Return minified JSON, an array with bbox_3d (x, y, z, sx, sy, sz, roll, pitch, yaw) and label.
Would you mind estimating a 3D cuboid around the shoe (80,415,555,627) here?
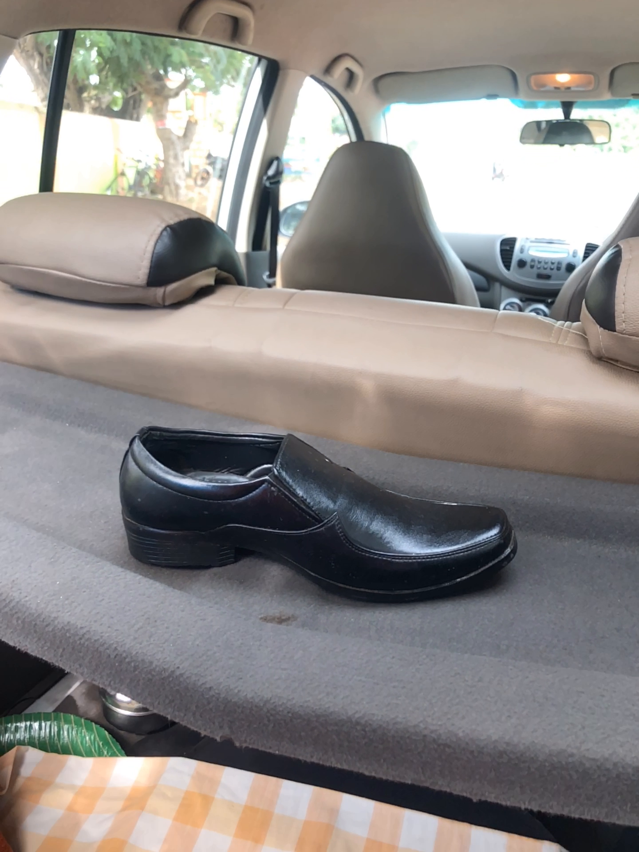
[{"bbox_3d":[-0.001,0.059,0.501,0.300,0.080,0.101,5,21,8],"label":"shoe"}]
